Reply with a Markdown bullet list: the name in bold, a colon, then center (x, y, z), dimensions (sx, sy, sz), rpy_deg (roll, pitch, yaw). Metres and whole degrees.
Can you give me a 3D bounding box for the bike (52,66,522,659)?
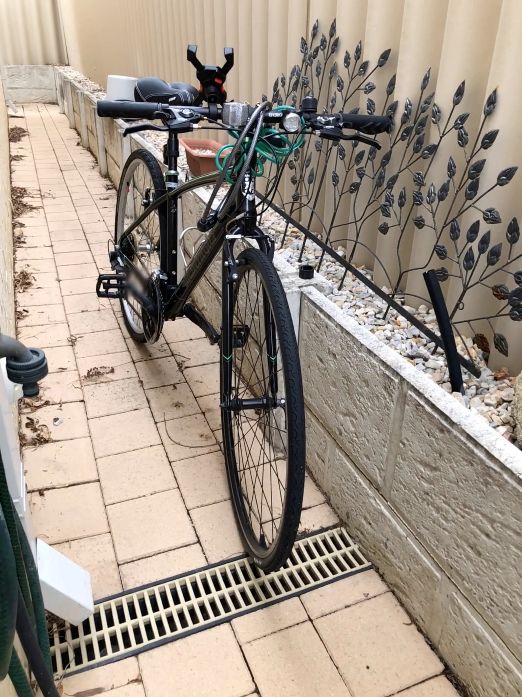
- **bike**: center (-0.135, -0.266, 1.608), dimensions (0.638, 0.859, 1.705), rpy_deg (-9, 30, -20)
